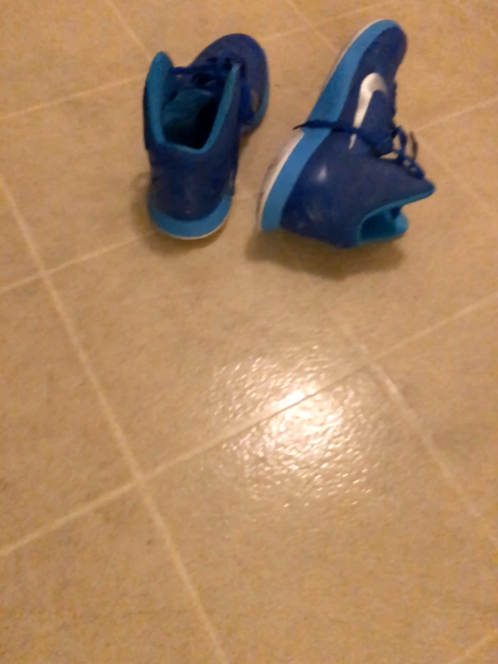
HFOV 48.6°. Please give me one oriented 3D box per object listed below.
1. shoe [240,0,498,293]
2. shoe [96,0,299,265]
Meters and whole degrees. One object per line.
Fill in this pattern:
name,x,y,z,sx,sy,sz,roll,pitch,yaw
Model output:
shoe,0.127,-0.210,0.570,0.159,0.119,0.282,24,62,4
shoe,-0.038,-0.247,0.574,0.120,0.144,0.312,11,61,2
